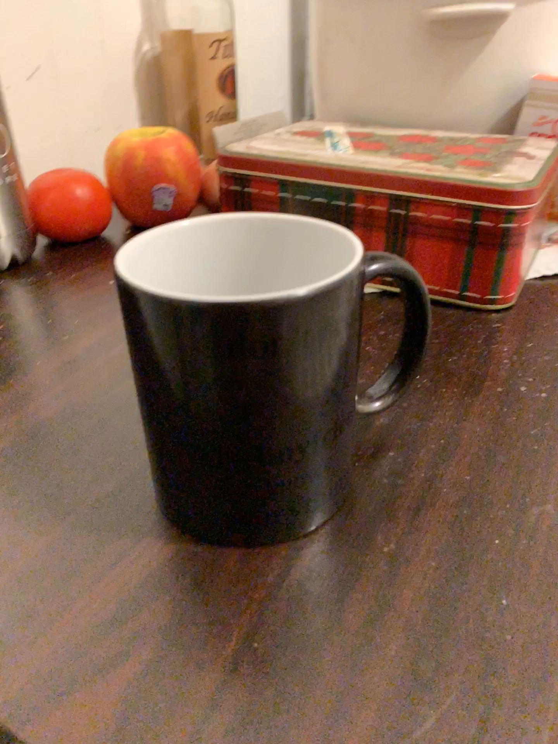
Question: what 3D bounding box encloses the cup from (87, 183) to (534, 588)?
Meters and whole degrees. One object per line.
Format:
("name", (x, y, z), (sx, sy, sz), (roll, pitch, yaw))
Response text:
("cup", (0.010, -0.005, 0.222), (0.130, 0.099, 0.081), (-16, 35, -23))
